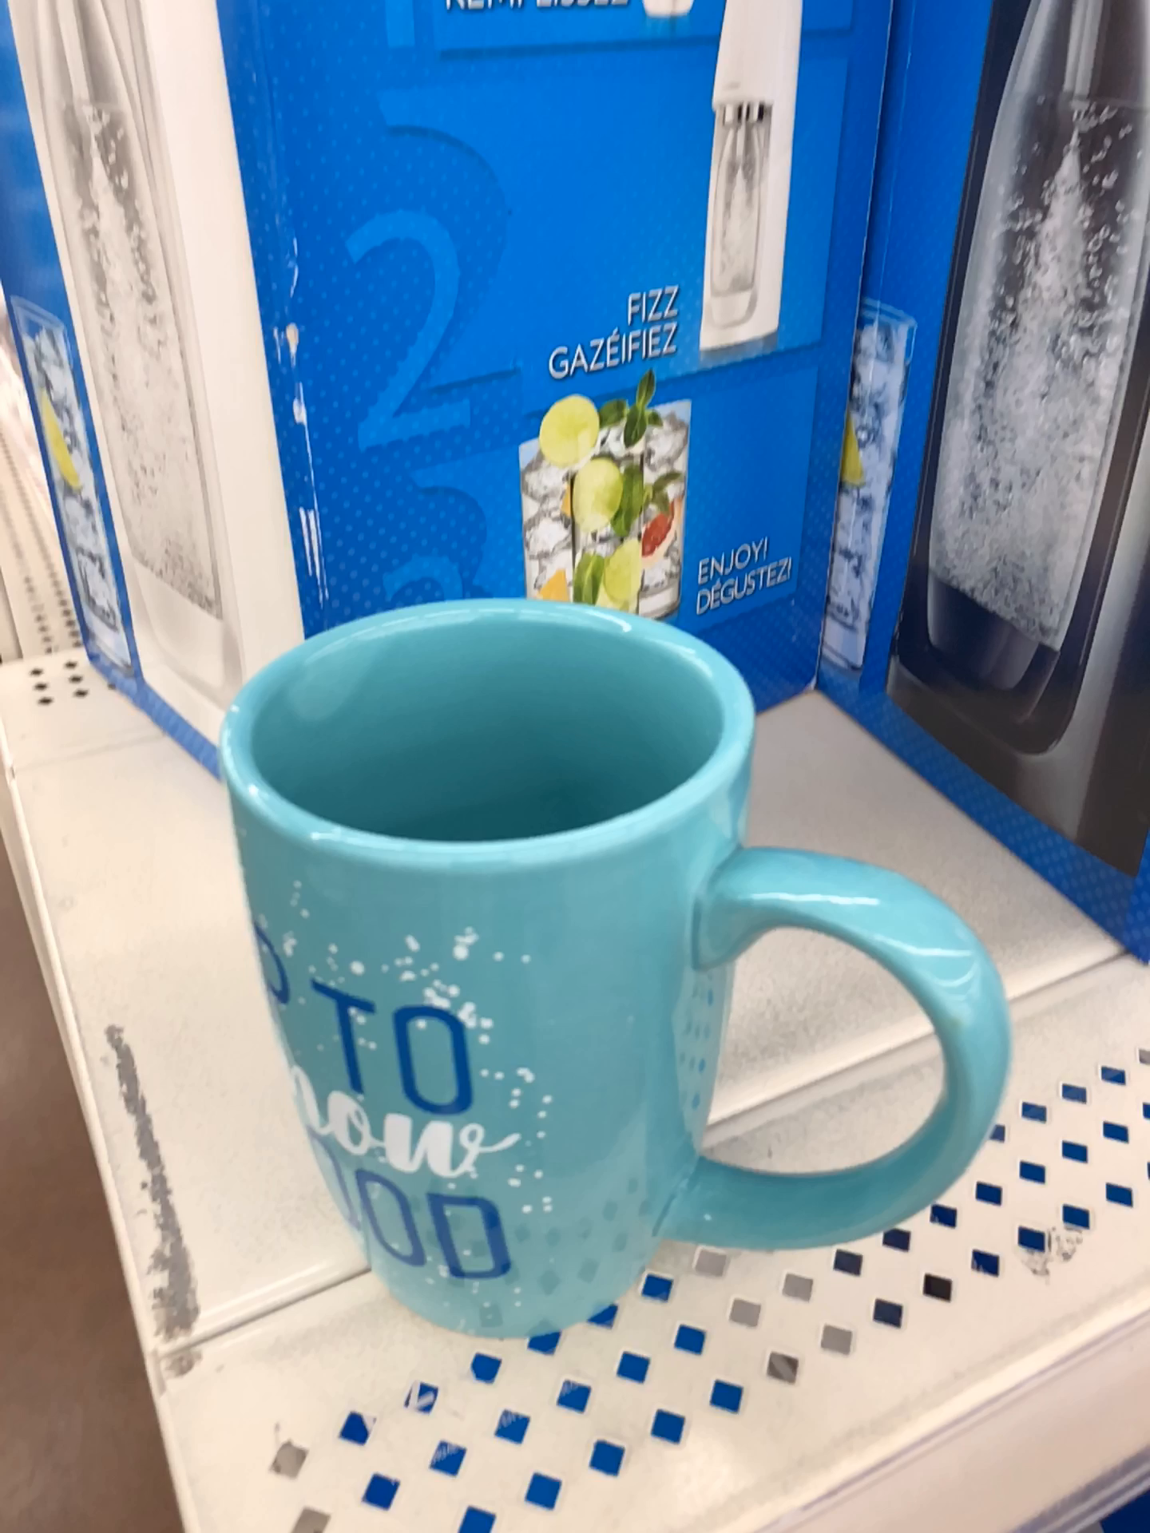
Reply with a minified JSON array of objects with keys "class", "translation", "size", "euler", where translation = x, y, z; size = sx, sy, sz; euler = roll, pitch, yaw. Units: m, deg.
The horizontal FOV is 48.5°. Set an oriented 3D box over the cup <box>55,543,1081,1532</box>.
[{"class":"cup","translation":[0.004,0.041,0.236],"size":[0.140,0.120,0.090],"euler":[13,34,20]}]
